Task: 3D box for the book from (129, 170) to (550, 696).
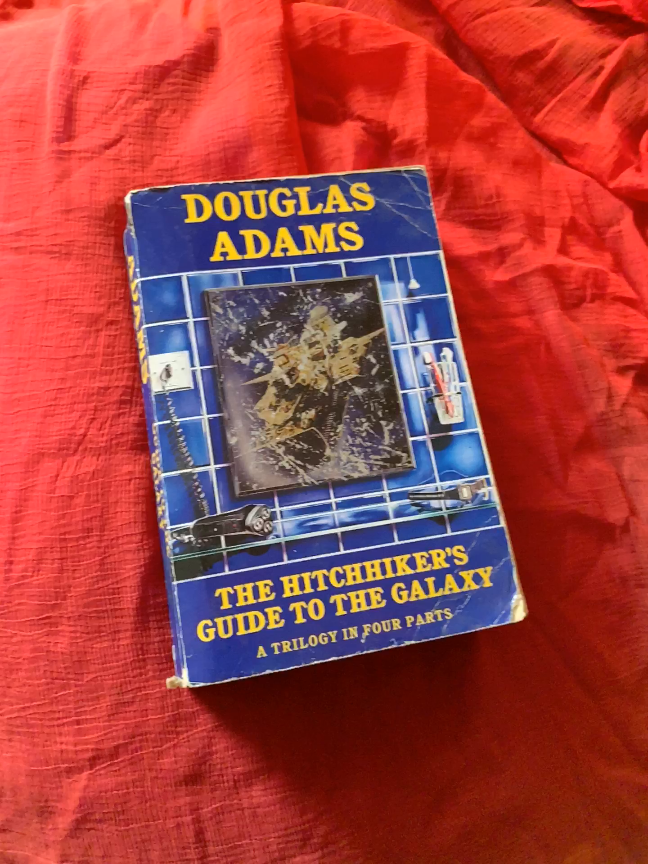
[{"bbox_3d":[0.000,-0.007,0.272,0.130,0.045,0.187,-7,77,-10],"label":"book"}]
